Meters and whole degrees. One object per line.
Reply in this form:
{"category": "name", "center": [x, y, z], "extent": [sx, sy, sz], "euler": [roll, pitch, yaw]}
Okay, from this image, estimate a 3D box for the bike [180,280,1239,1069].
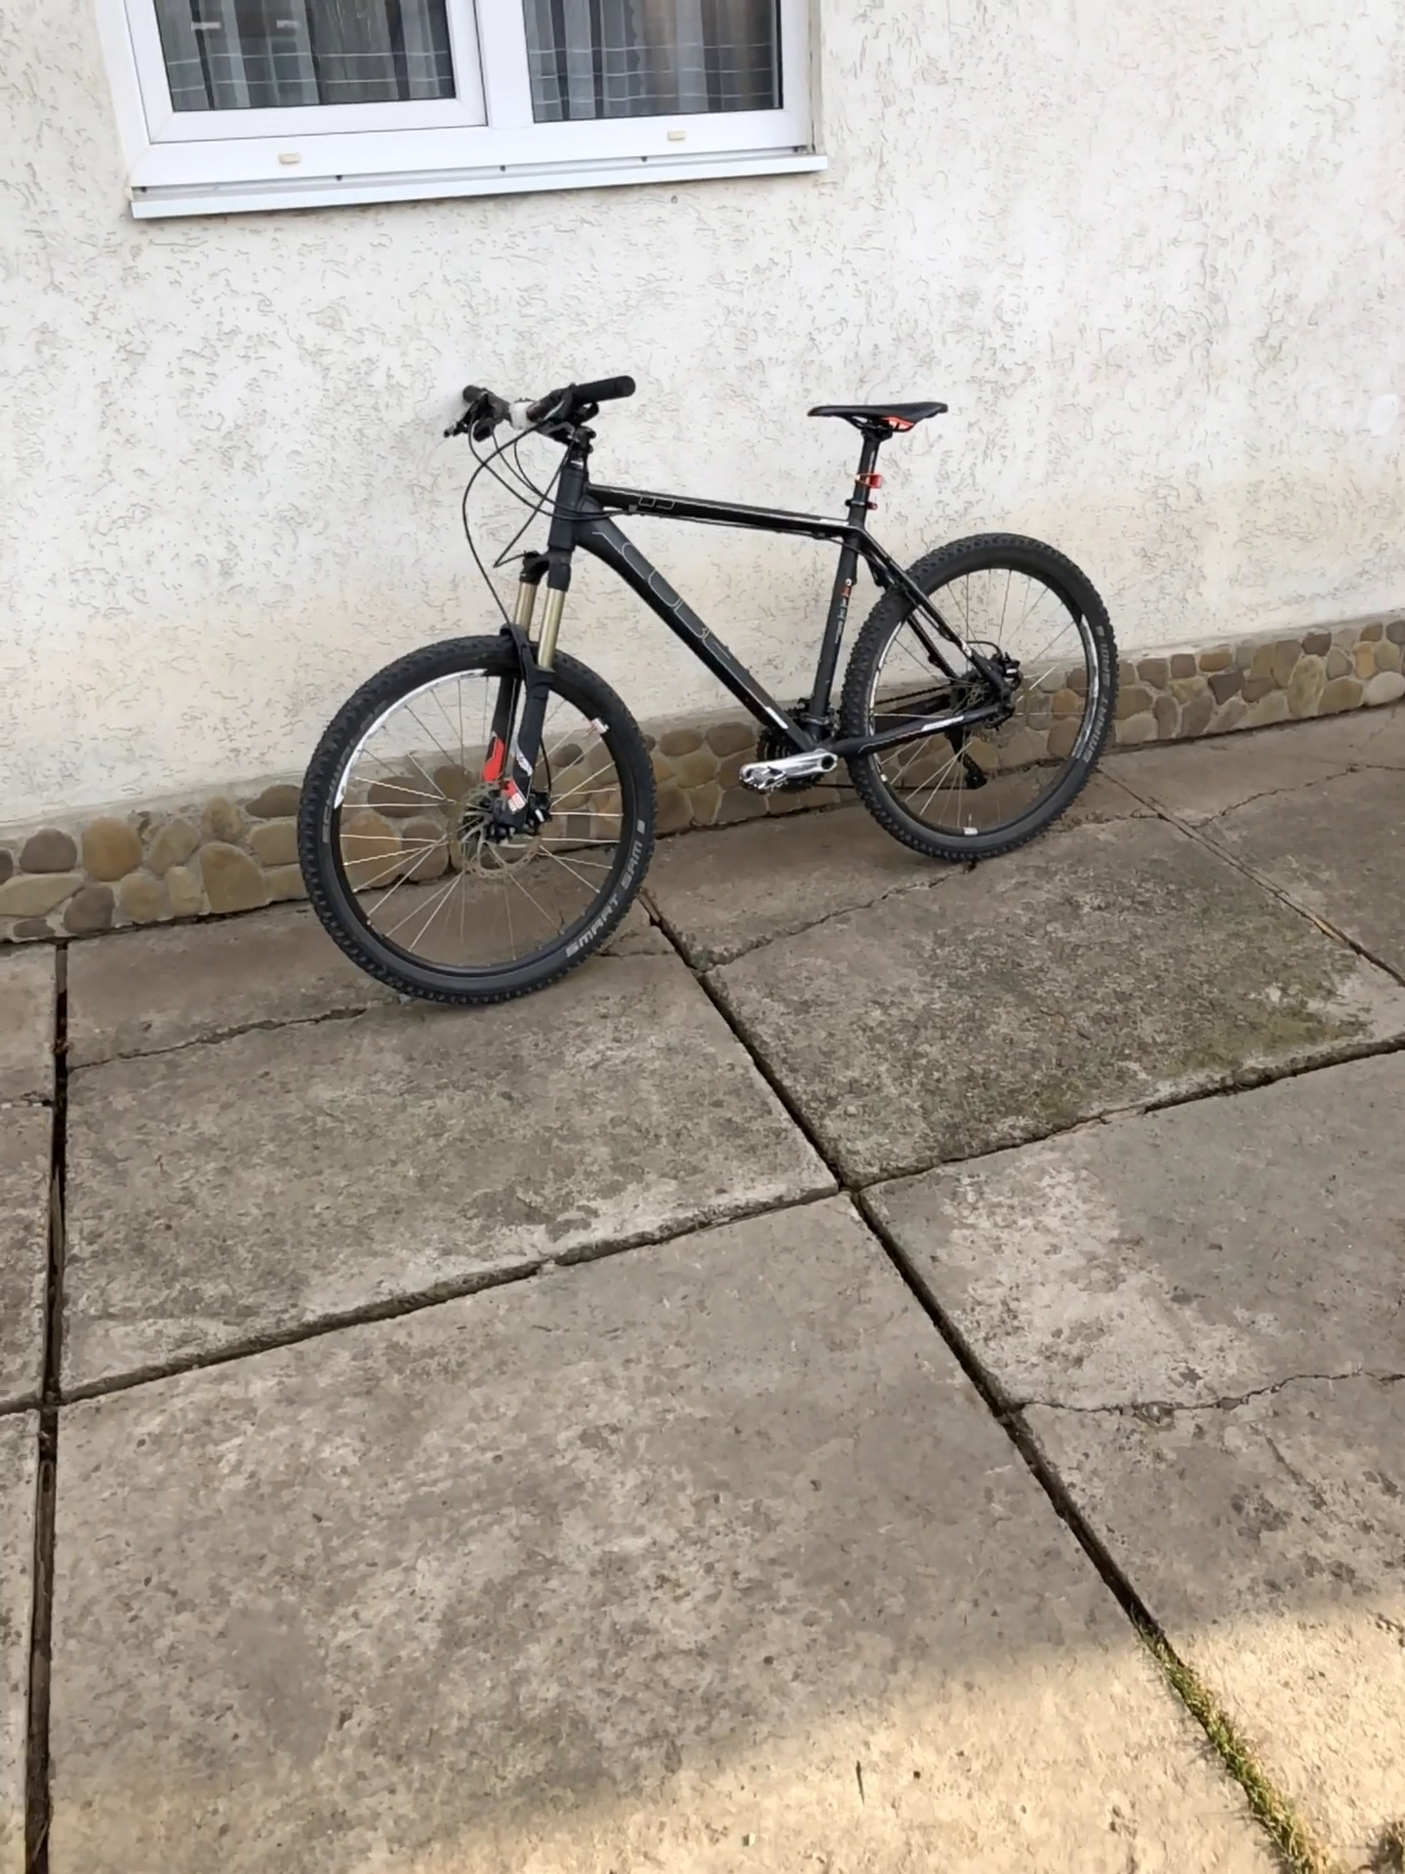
{"category": "bike", "center": [0.054, -0.600, 2.990], "extent": [1.776, 1.090, 0.689], "euler": [-14, 31, -22]}
